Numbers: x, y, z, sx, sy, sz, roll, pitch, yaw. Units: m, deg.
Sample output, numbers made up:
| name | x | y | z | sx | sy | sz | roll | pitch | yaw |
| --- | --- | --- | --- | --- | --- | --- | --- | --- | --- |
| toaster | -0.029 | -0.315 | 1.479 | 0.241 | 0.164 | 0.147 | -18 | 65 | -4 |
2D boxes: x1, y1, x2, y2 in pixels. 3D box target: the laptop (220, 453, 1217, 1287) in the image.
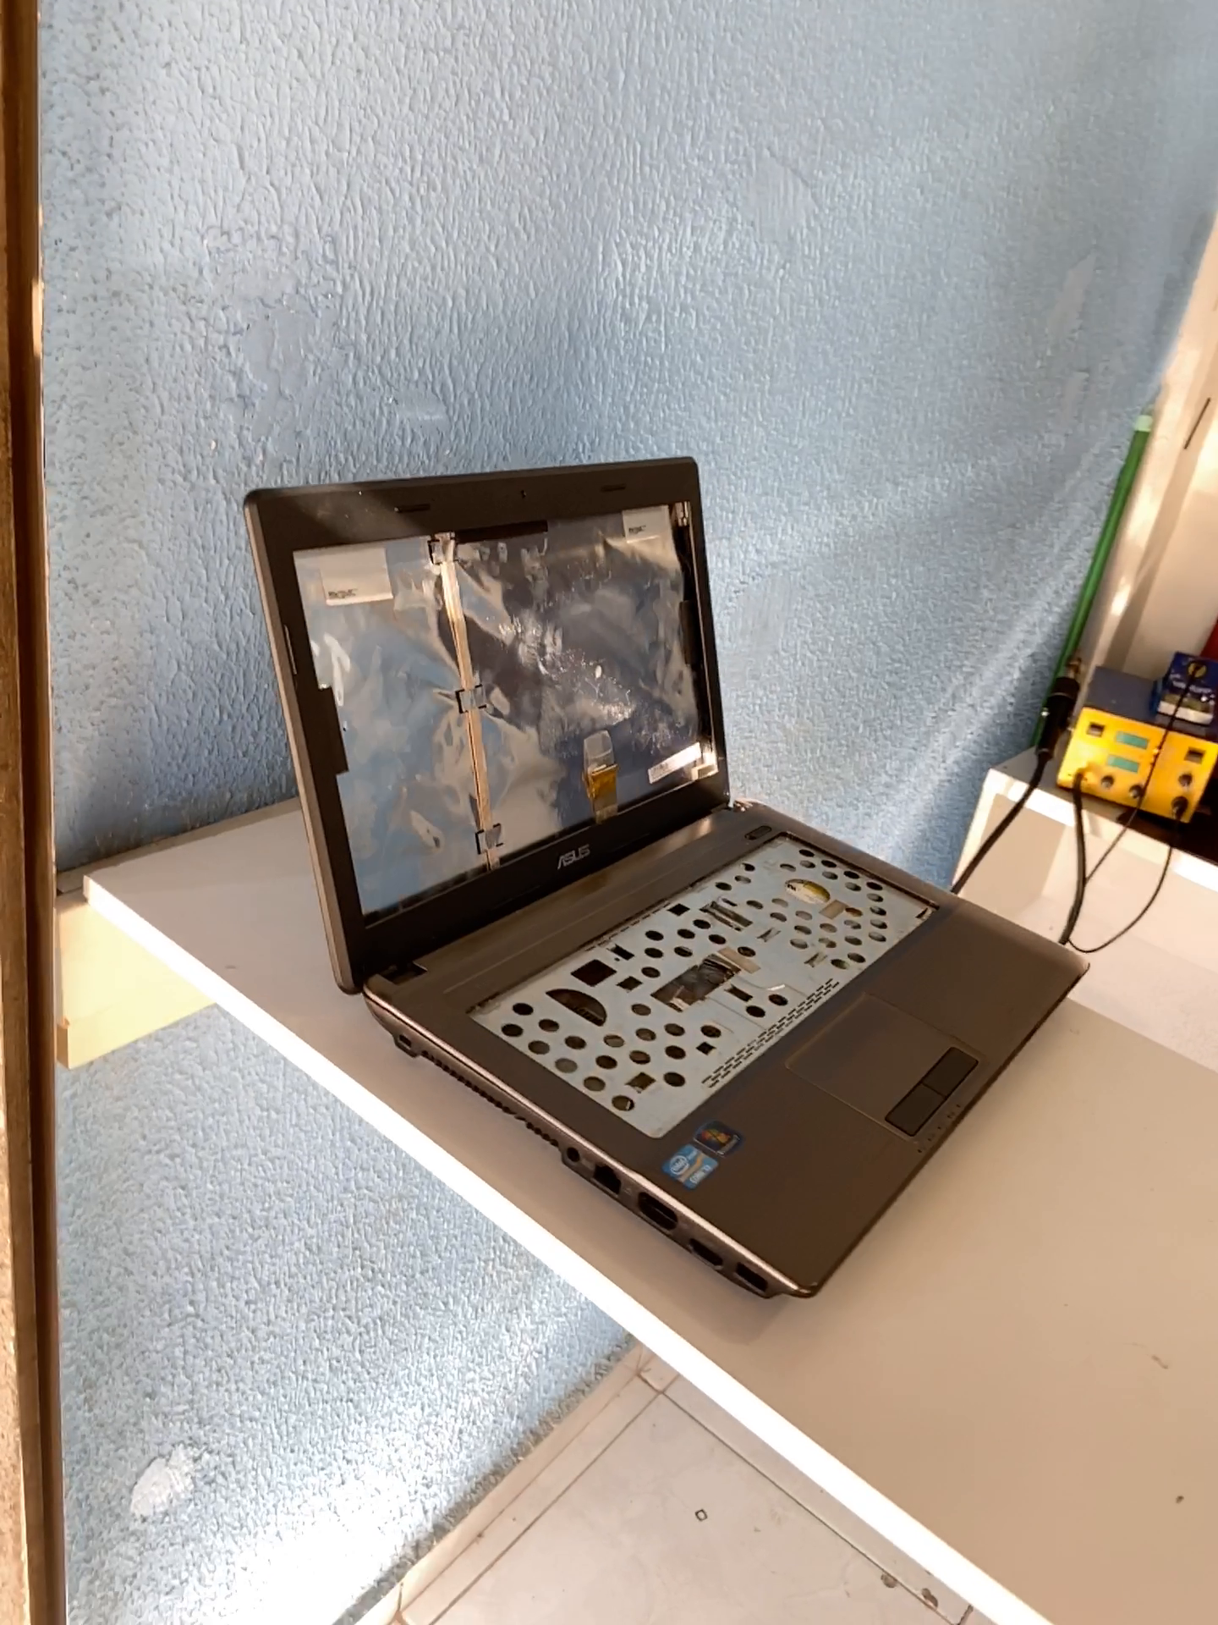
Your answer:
| name | x | y | z | sx | sy | sz | roll | pitch | yaw |
| --- | --- | --- | --- | --- | --- | --- | --- | --- | --- |
| laptop | 0.059 | -0.027 | 0.614 | 0.327 | 0.202 | 0.338 | 26 | 29 | 29 |
